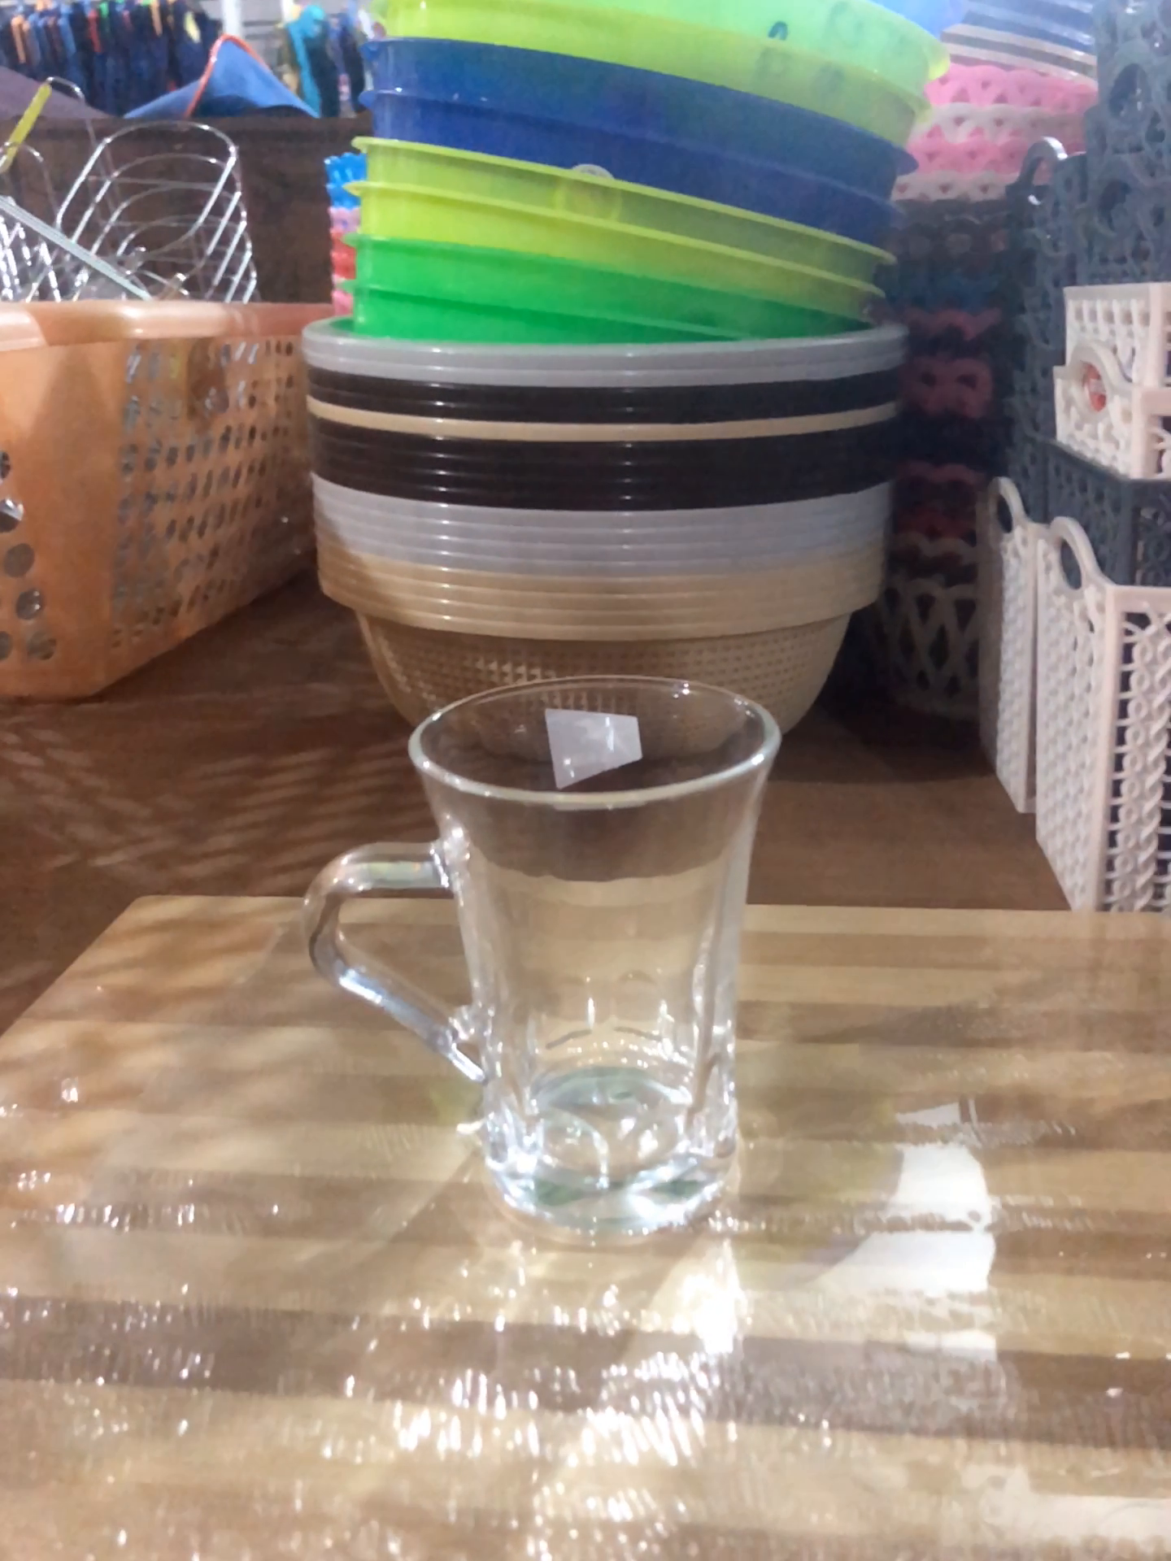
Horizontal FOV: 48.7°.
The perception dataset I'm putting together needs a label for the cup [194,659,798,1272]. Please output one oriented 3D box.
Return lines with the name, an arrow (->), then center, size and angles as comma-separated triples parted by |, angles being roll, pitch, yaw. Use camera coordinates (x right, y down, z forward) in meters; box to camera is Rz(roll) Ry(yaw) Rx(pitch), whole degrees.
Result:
cup -> -0.012, 0.031, 0.237 | 0.090, 0.090, 0.060 | -2, 21, 0
